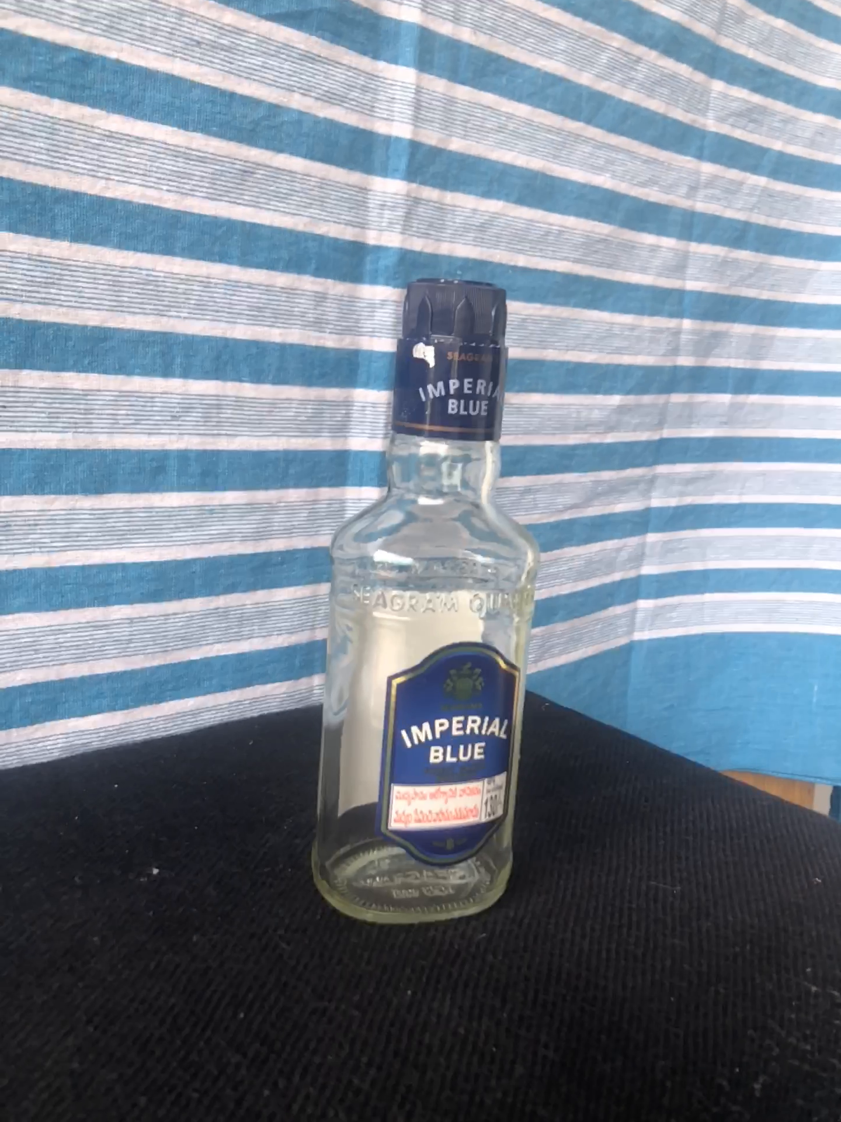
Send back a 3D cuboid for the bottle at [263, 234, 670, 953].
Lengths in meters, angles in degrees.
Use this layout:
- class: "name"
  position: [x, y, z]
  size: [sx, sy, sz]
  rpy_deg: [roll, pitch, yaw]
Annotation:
- class: "bottle"
  position: [0.006, 0.009, 0.247]
  size: [0.070, 0.169, 0.050]
  rpy_deg: [3, 14, -22]
